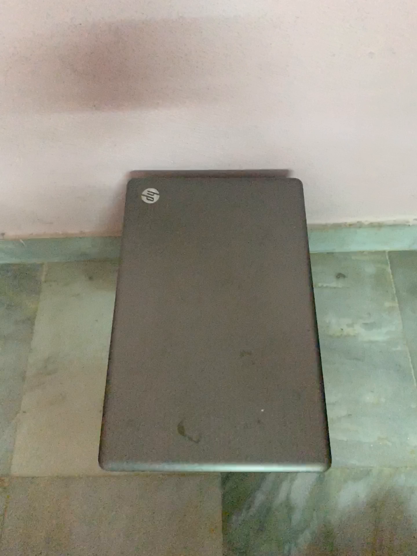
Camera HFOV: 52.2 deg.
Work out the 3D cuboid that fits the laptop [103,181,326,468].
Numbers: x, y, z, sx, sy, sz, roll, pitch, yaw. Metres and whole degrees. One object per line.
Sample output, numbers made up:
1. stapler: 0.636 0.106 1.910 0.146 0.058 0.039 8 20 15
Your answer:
1. laptop: 0.009 0.033 0.541 0.242 0.003 0.380 0 66 1
